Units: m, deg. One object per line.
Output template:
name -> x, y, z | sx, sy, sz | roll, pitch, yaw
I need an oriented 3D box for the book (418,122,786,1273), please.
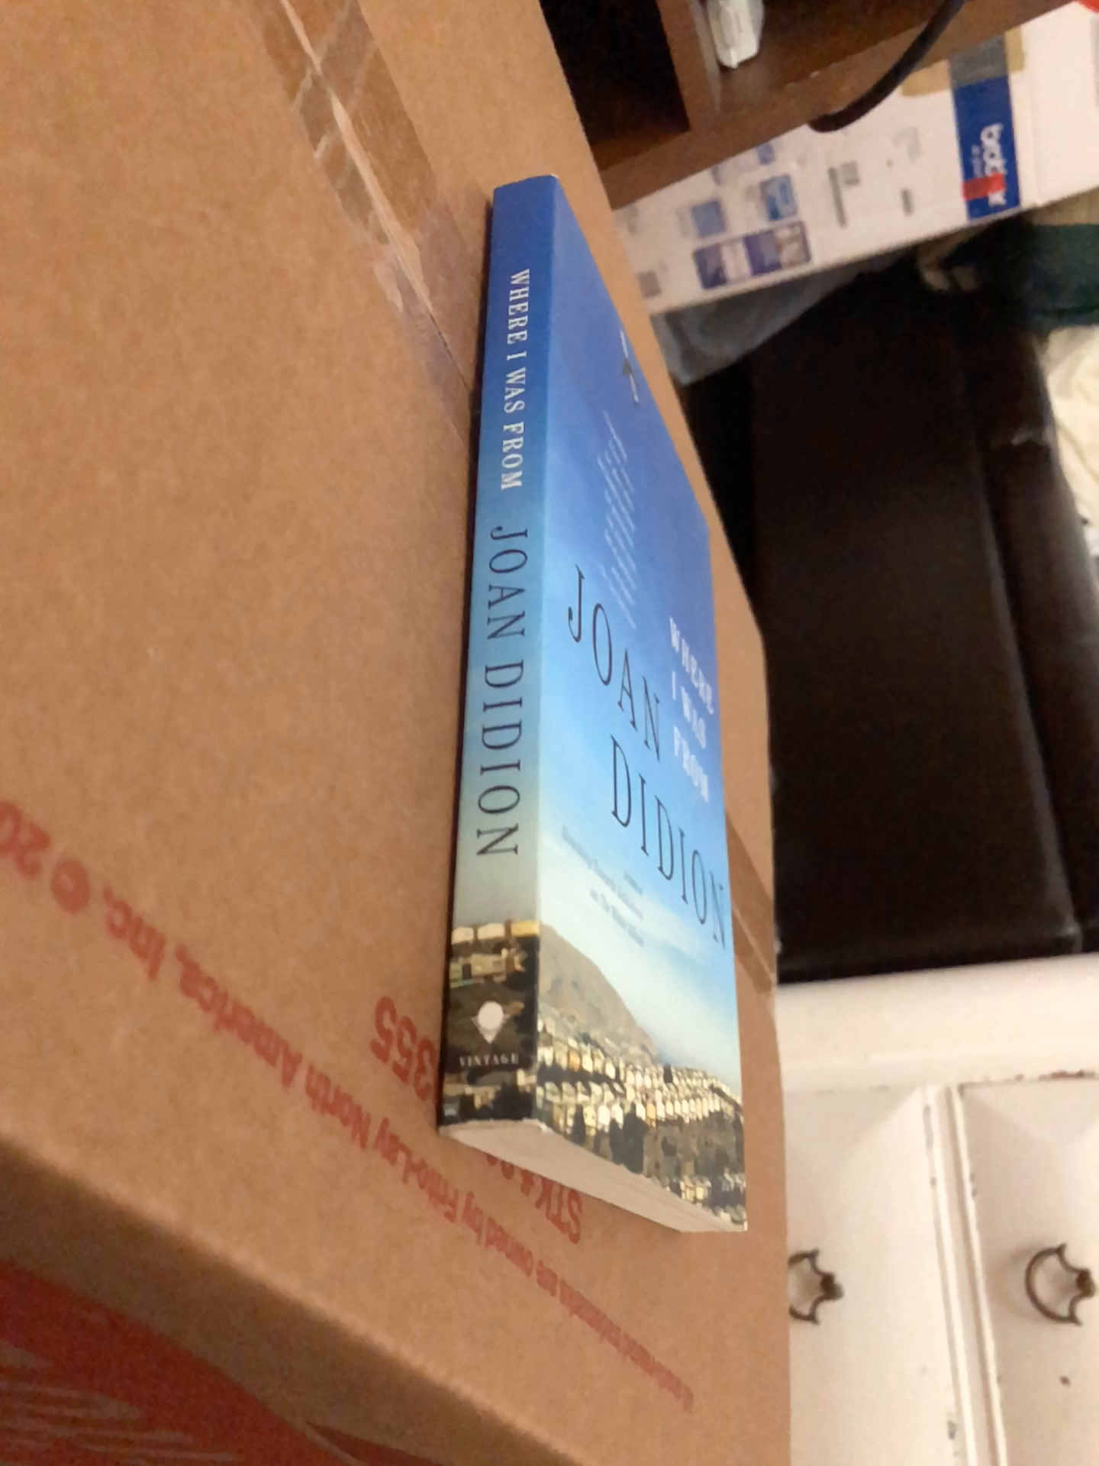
book -> 0.018, -0.003, 0.267 | 0.140, 0.020, 0.210 | 51, 34, -55
